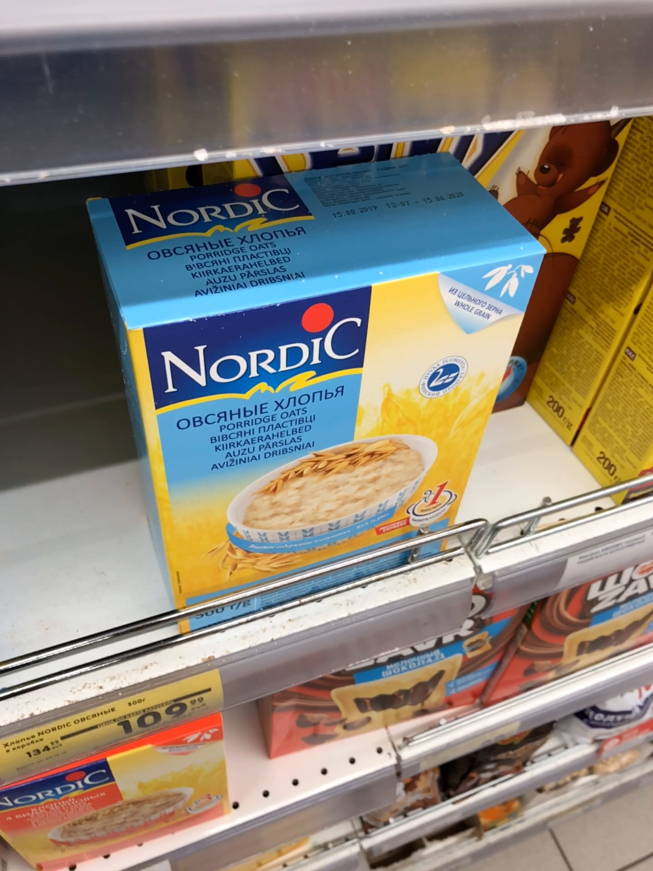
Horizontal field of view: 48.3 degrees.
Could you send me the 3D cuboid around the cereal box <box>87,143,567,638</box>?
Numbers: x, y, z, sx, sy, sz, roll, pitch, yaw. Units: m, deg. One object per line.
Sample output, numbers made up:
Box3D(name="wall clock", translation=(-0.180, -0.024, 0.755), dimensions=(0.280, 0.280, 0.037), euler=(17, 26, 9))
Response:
Box3D(name="cereal box", translation=(-0.006, -0.009, 0.324), dimensions=(0.150, 0.199, 0.070), euler=(-14, 51, -17))
